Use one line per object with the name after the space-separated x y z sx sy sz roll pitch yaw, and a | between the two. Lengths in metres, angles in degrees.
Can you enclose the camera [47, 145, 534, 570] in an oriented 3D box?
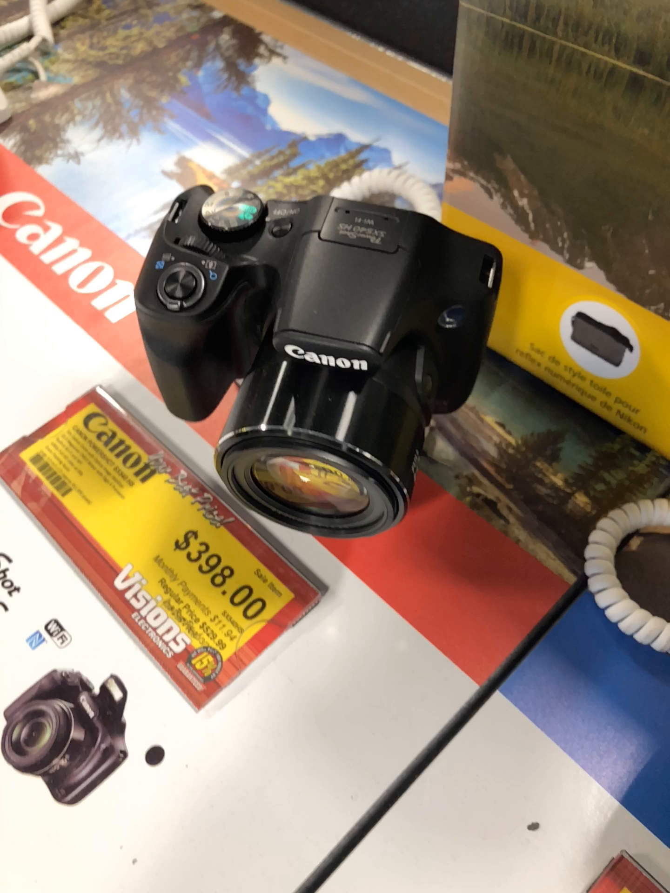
-0.008 -0.032 0.252 0.120 0.080 0.090 14 56 12 | camera
